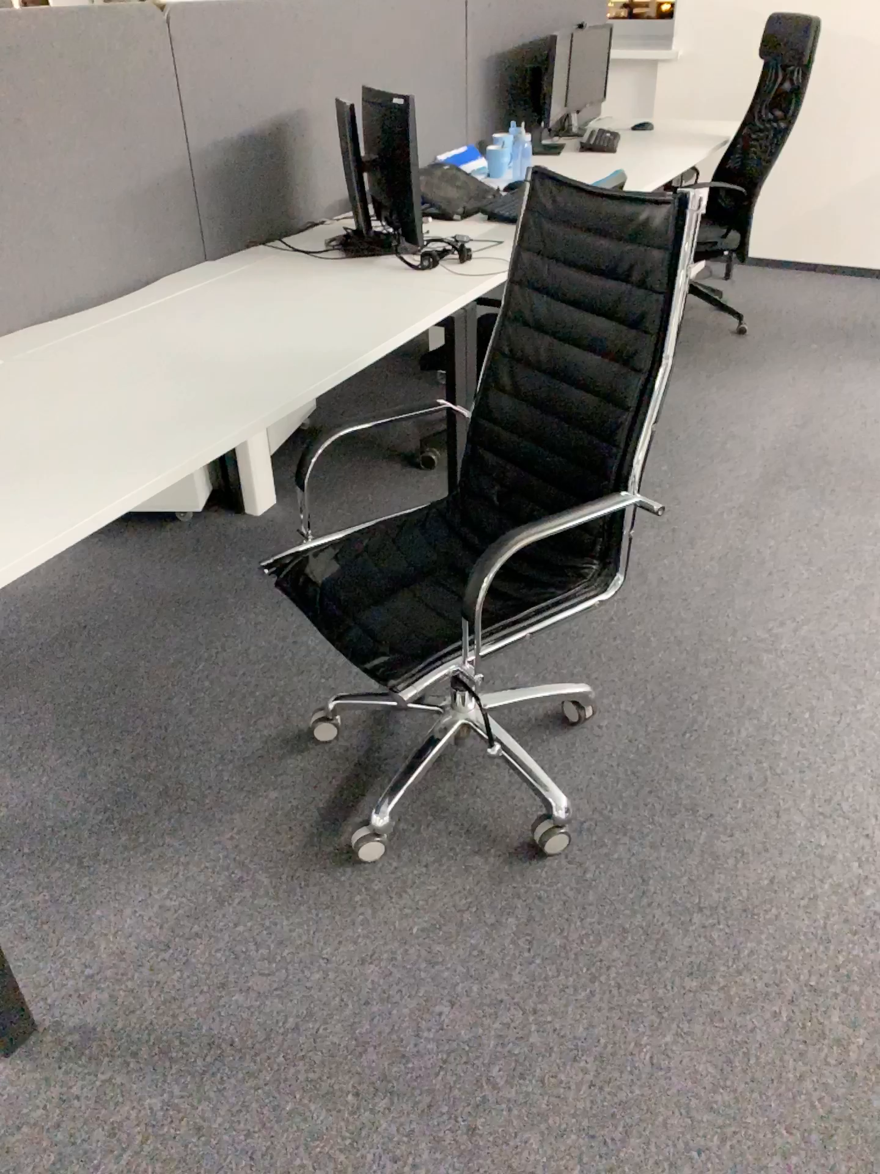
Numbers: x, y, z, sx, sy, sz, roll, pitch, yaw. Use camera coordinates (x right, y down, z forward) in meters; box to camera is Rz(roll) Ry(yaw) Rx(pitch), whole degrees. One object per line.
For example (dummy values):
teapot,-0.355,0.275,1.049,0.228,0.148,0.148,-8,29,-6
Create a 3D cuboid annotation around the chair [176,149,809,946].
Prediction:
chair,0.061,-0.100,1.641,0.691,1.134,0.642,-20,38,-26
